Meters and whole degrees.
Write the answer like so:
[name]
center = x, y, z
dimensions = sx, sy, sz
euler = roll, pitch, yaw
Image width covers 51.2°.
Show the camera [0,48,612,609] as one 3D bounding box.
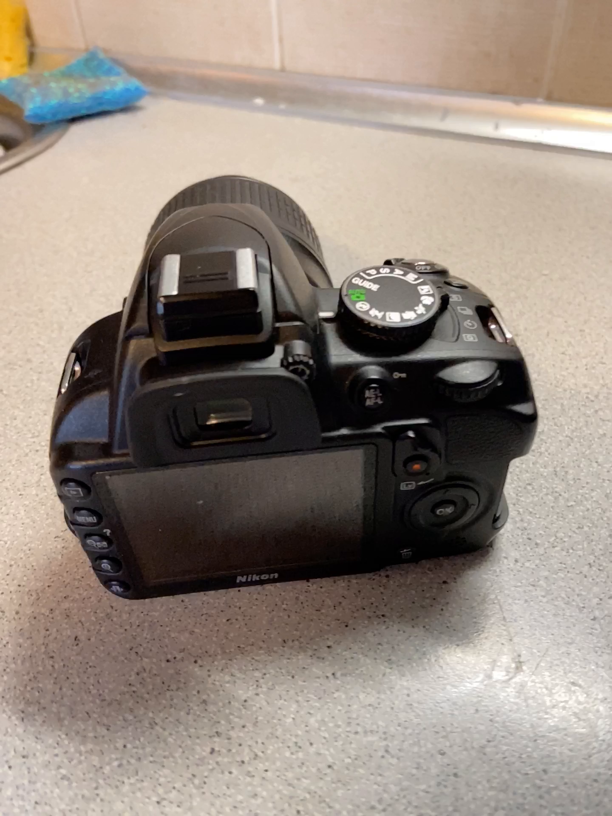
[camera]
center = -0.006, -0.043, 0.217
dimensions = 0.121, 0.091, 0.178
euler = -6, 42, -2
